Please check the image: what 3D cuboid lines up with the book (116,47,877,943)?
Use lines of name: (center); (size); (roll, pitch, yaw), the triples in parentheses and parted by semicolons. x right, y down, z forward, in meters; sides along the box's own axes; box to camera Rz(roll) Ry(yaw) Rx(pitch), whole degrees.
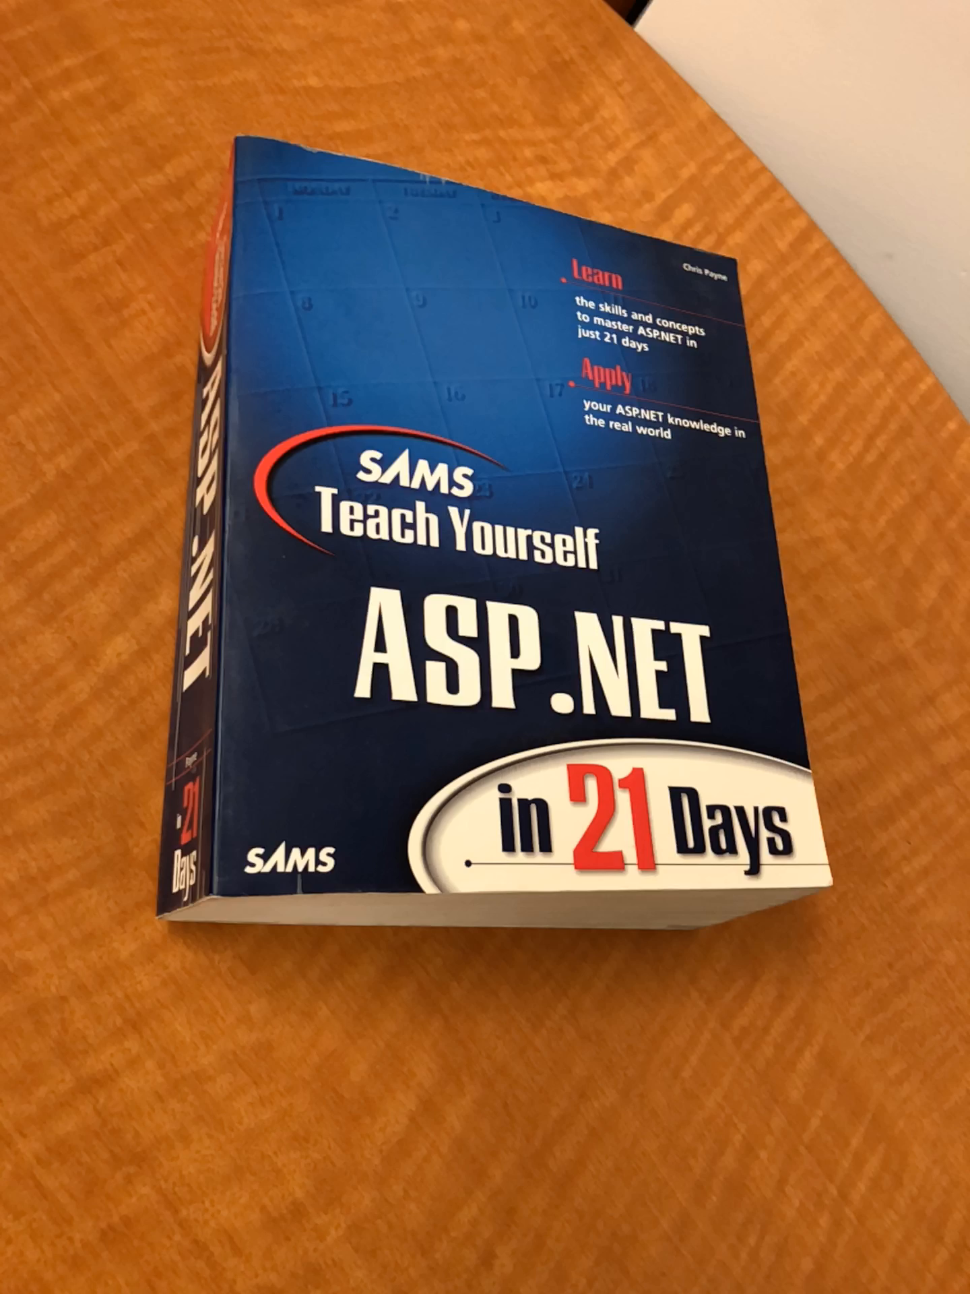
book: (0.005, -0.036, 0.337); (0.200, 0.070, 0.240); (8, 69, -23)
